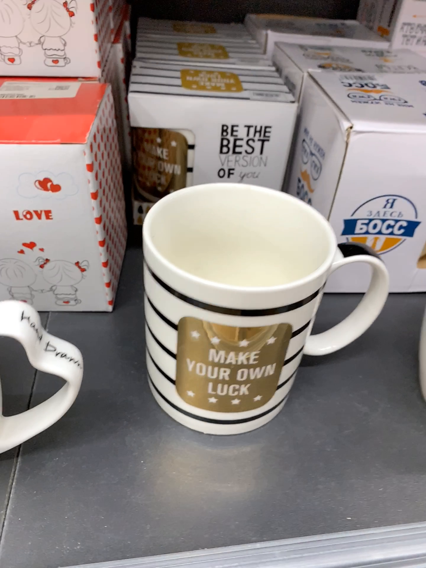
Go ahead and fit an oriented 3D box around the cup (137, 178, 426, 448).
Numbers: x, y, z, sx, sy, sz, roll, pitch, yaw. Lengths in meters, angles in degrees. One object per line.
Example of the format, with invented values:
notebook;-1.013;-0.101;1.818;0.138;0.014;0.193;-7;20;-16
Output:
cup;0.024;0.012;0.220;0.114;0.096;0.082;-3;41;-10
